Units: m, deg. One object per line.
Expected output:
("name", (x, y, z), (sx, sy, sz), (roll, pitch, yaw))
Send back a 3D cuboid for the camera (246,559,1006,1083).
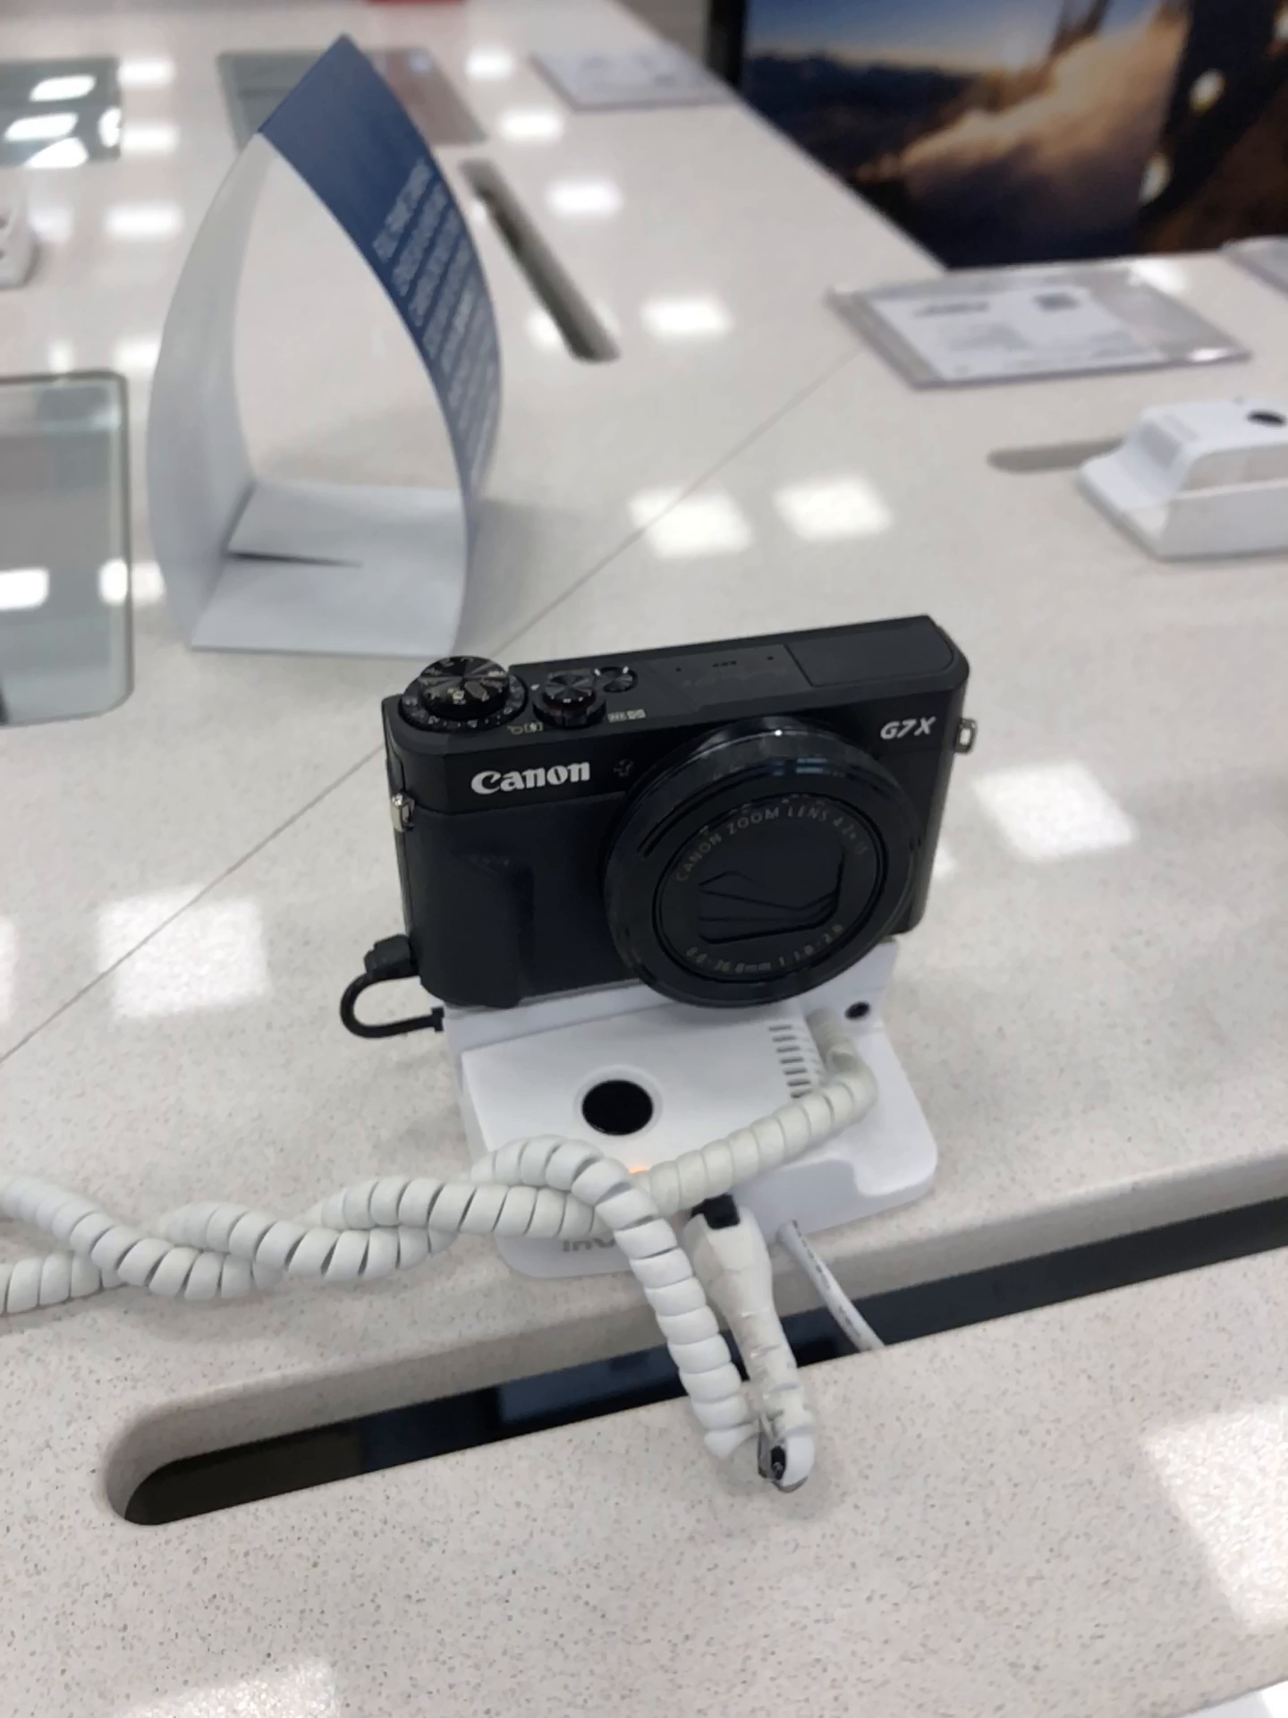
("camera", (-0.005, -0.009, 0.266), (0.120, 0.060, 0.050), (-10, 42, -14))
